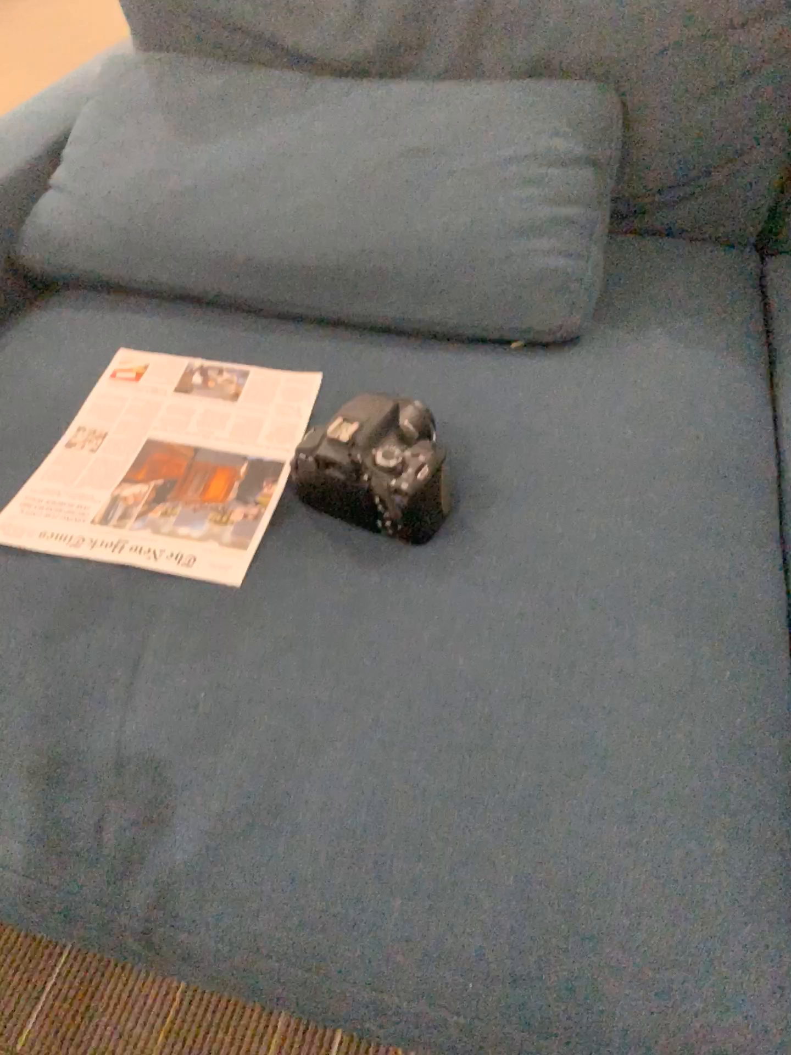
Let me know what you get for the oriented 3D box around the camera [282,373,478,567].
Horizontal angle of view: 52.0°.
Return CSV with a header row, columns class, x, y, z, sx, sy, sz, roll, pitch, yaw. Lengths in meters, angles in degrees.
class,x,y,z,sx,sy,sz,roll,pitch,yaw
camera,-0.010,-0.057,0.761,0.140,0.100,0.110,20,50,23
